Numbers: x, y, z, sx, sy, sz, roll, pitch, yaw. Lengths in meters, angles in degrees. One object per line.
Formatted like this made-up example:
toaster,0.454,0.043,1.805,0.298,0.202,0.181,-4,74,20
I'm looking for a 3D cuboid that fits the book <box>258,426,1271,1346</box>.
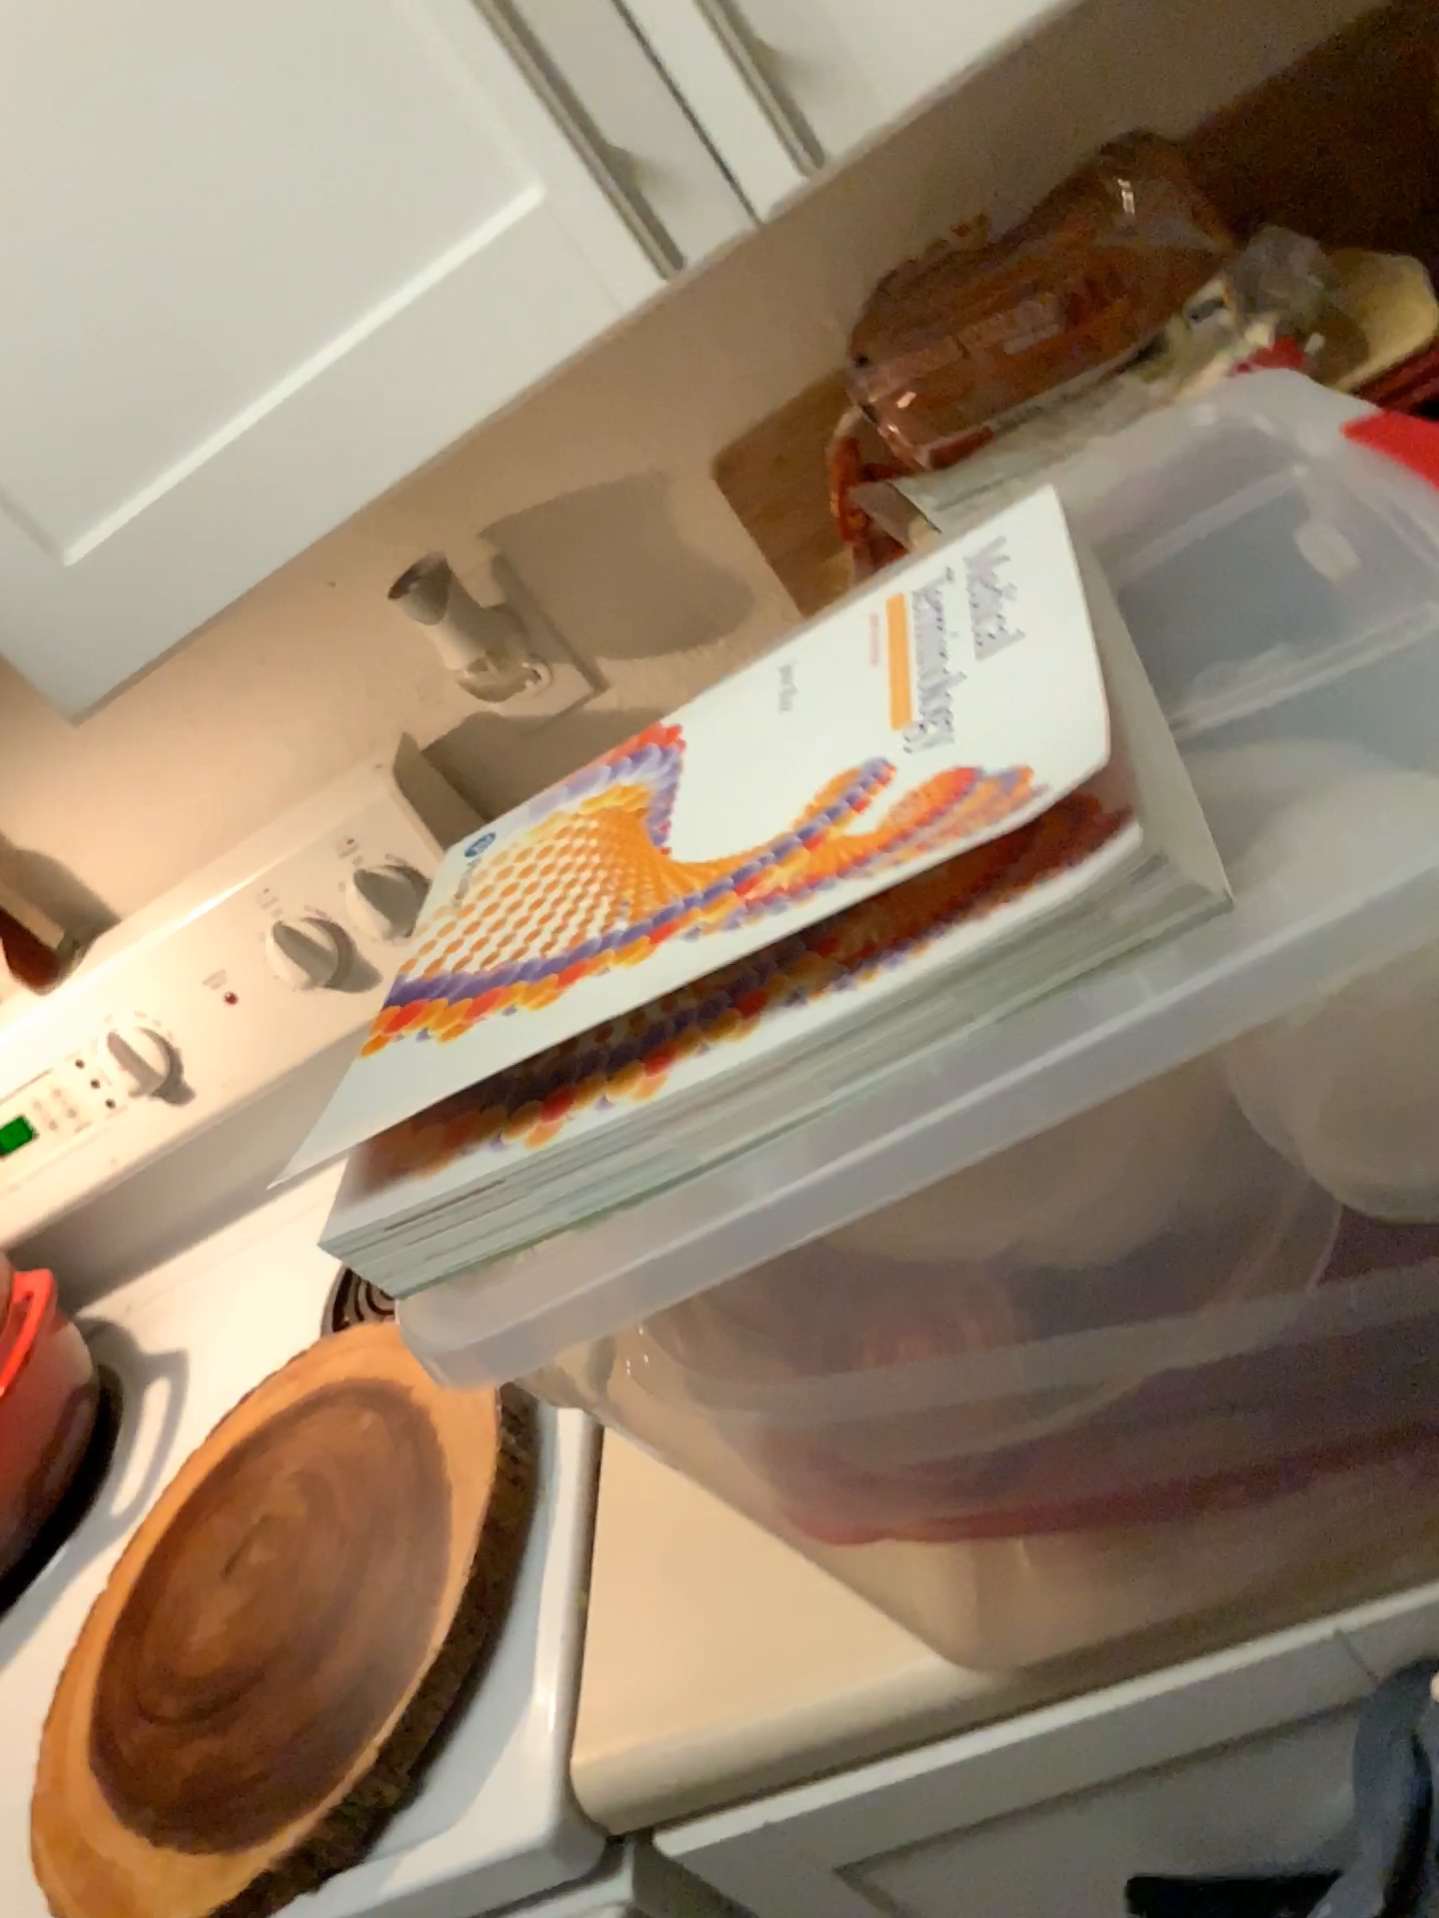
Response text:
book,0.001,-0.033,0.519,0.290,0.050,0.230,-29,31,20
